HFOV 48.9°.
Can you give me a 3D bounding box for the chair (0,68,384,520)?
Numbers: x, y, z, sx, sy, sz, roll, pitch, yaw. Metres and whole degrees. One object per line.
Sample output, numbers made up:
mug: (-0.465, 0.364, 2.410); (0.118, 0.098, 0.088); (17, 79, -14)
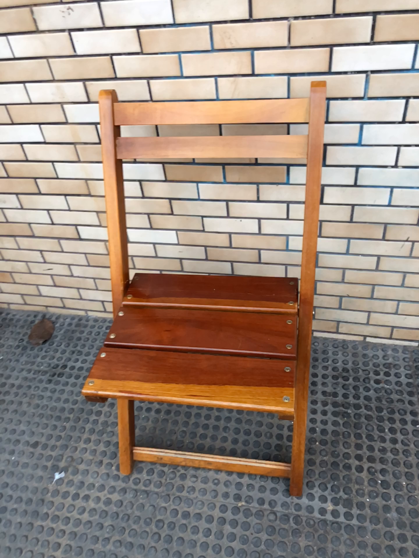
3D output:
chair: (0.013, 0.054, 0.948); (0.470, 0.765, 0.493); (3, 42, 9)
